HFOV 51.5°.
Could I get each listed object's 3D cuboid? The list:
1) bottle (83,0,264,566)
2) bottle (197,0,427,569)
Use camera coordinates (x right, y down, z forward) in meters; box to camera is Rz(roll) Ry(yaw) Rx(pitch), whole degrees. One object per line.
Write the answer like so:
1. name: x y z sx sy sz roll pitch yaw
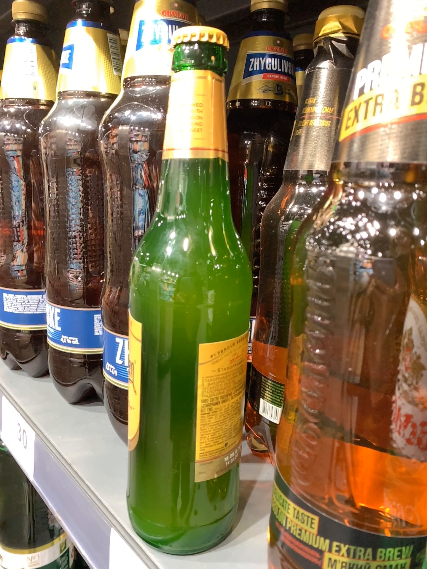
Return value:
1. bottle: -0.017 0.005 0.227 0.067 0.255 0.062 2 12 0
2. bottle: 0.047 0.002 0.169 0.075 0.270 0.066 10 15 35
